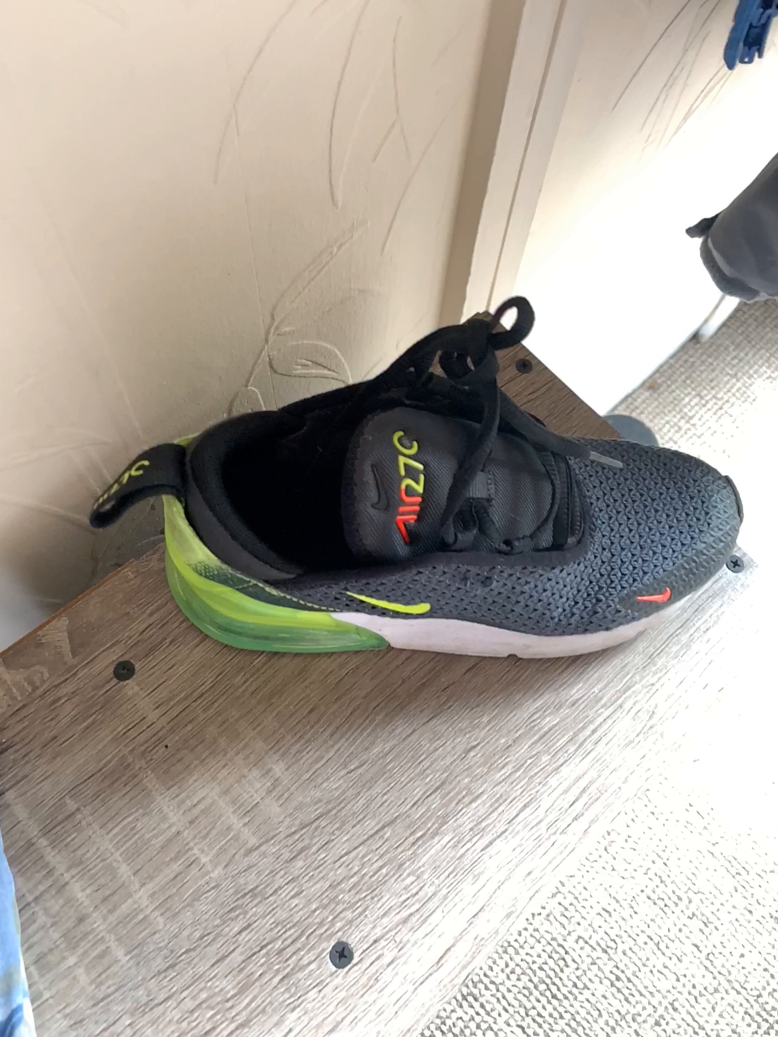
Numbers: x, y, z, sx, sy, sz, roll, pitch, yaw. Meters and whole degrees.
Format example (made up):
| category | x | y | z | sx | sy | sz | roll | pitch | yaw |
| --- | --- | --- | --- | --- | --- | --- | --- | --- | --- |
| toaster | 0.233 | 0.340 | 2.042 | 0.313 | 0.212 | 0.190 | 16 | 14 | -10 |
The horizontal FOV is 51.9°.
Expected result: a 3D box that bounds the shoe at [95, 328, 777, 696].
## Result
| category | x | y | z | sx | sy | sz | roll | pitch | yaw |
| --- | --- | --- | --- | --- | --- | --- | --- | --- | --- |
| shoe | 0.027 | 0.002 | 0.316 | 0.247 | 0.109 | 0.090 | -5 | 67 | -6 |
